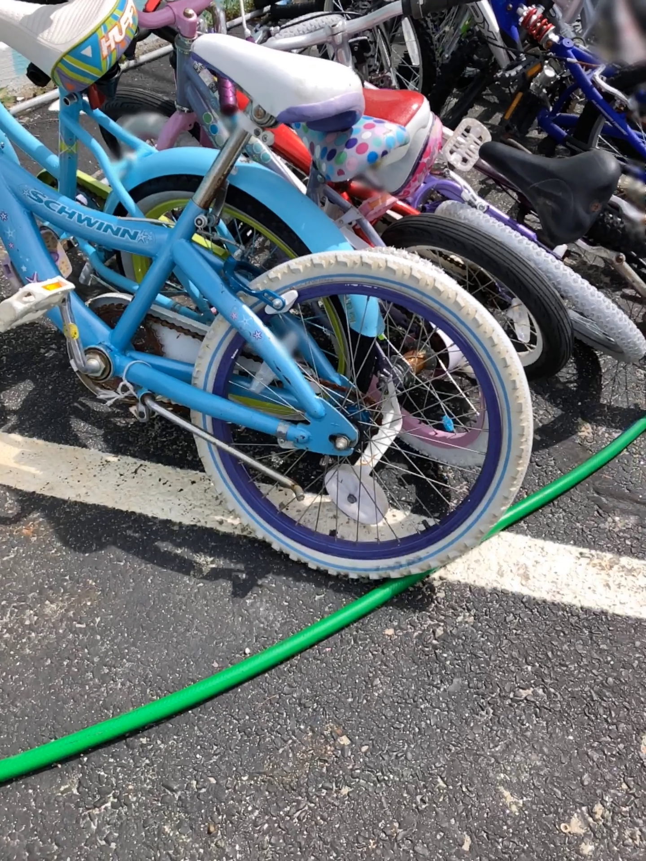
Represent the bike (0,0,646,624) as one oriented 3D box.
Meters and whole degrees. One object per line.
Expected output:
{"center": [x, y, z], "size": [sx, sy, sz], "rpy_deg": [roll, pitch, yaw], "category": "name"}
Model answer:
{"center": [-0.302, -0.367, 0.911], "size": [1.265, 0.777, 0.559], "rpy_deg": [14, 45, 5], "category": "bike"}
